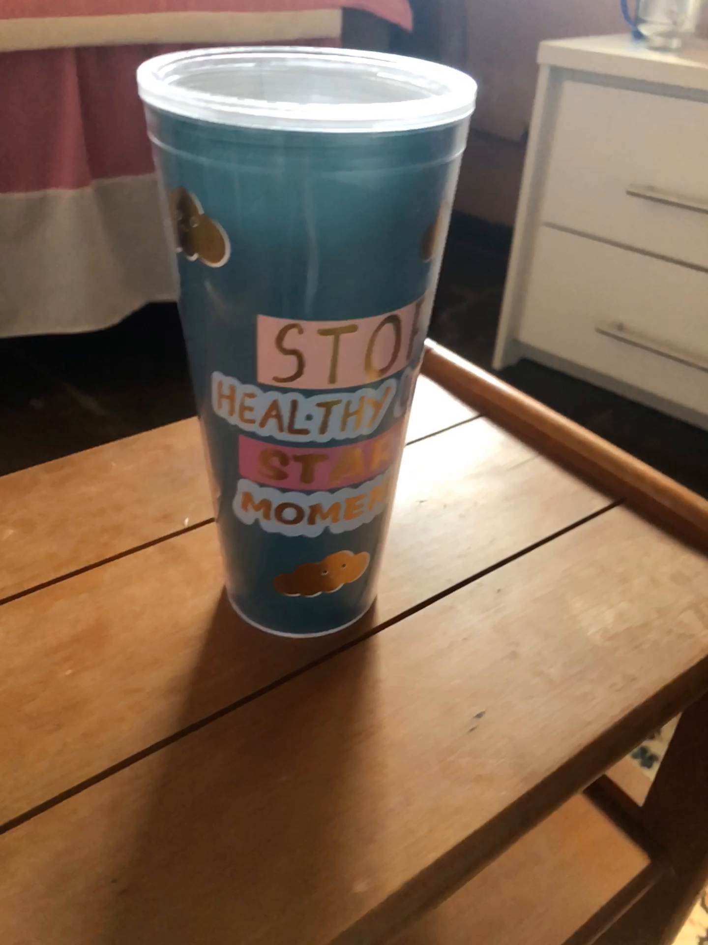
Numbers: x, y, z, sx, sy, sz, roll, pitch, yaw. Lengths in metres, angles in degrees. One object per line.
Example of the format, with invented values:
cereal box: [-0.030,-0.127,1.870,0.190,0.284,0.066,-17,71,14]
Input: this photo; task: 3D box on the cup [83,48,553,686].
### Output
cup: [-0.020,-0.039,0.273,0.100,0.179,0.100,2,34,-2]
